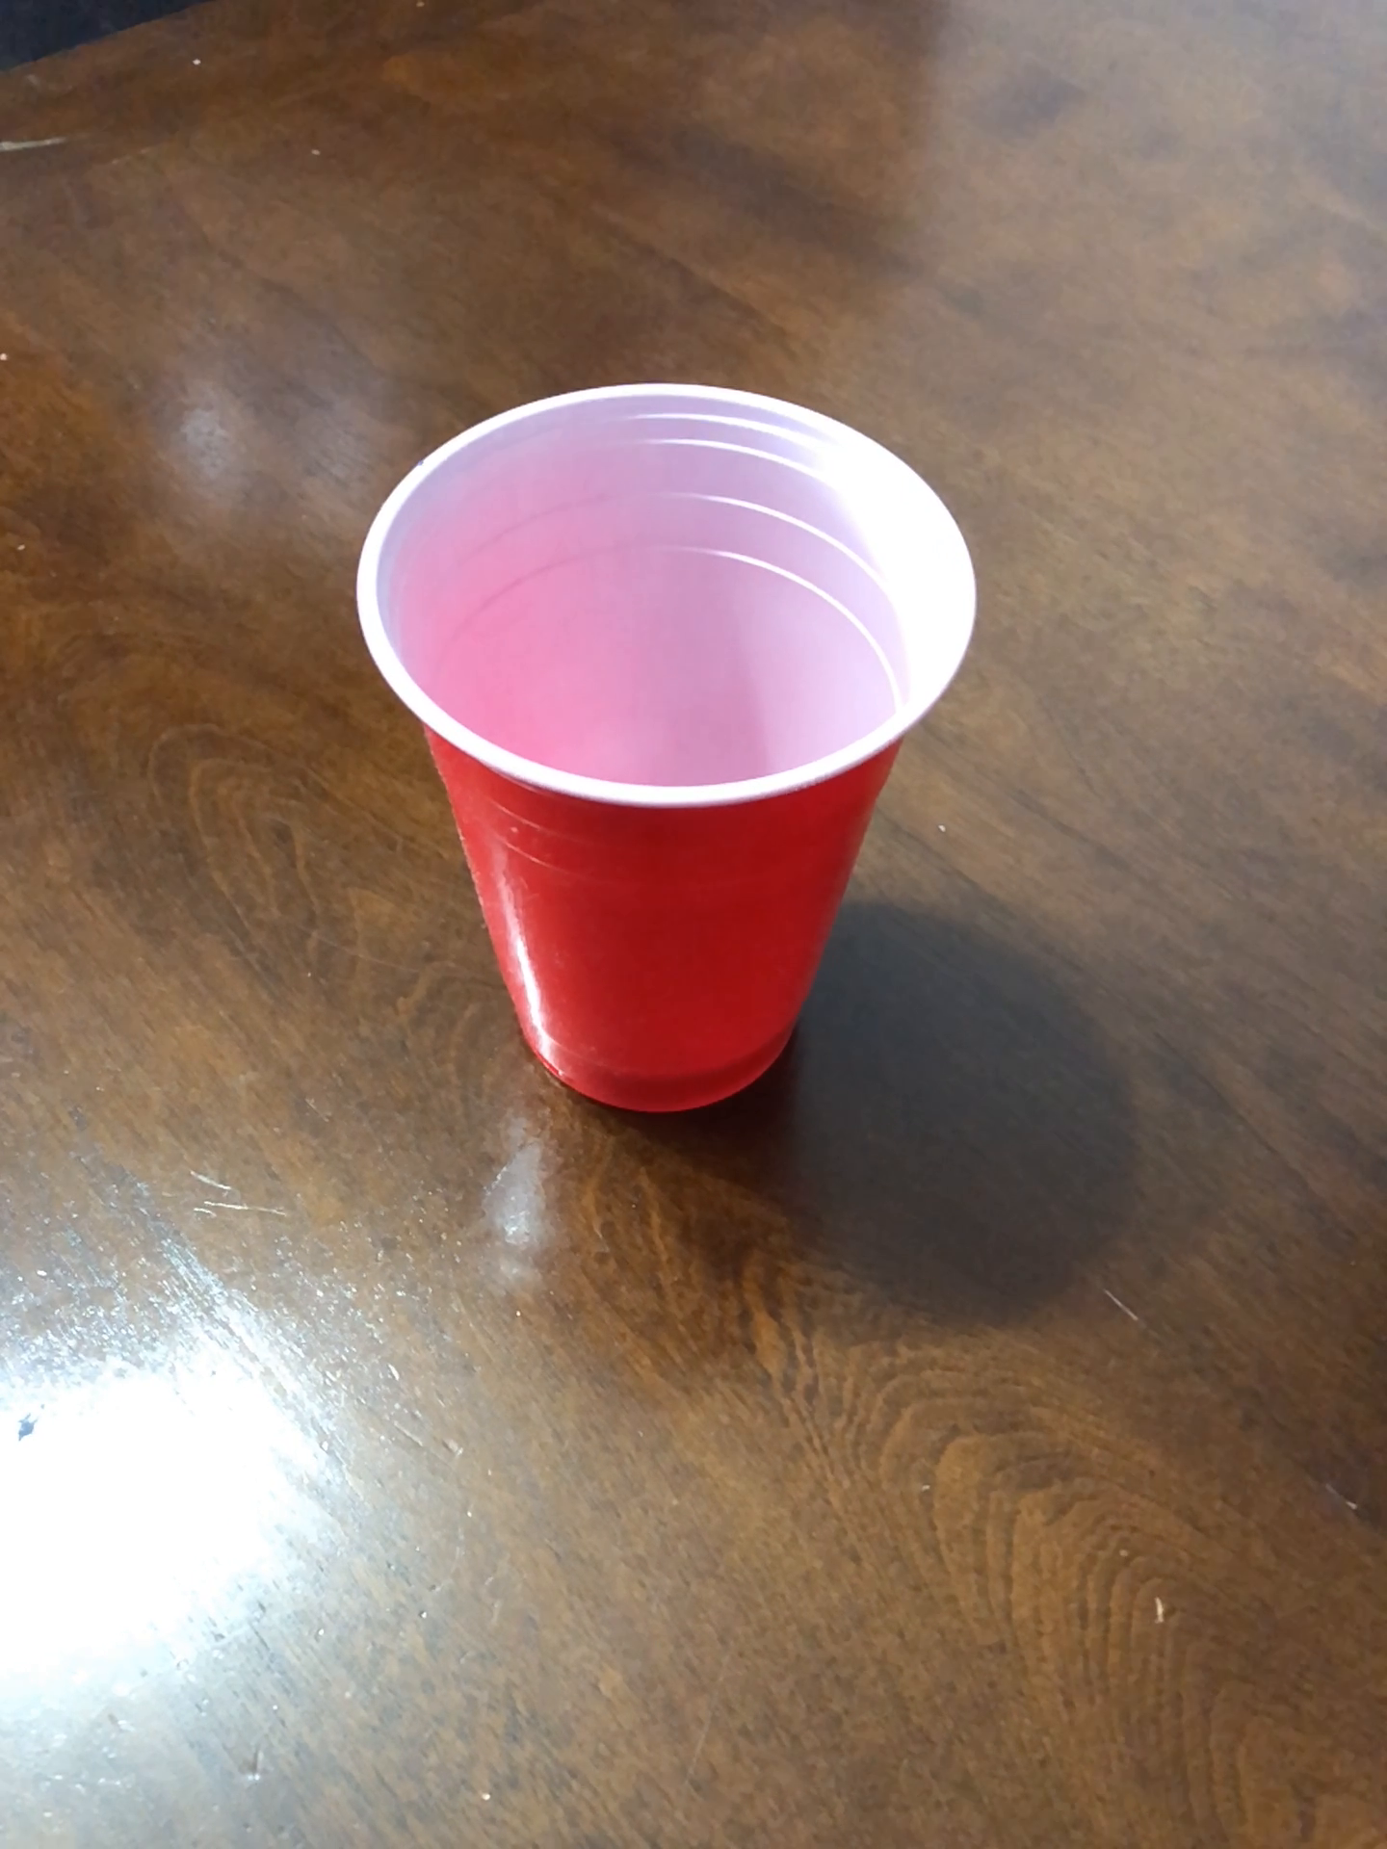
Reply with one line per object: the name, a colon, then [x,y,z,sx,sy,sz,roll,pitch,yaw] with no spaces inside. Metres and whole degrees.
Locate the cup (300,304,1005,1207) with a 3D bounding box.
cup: [-0.002,-0.025,0.273,0.090,0.120,0.090,1,51,-2]
